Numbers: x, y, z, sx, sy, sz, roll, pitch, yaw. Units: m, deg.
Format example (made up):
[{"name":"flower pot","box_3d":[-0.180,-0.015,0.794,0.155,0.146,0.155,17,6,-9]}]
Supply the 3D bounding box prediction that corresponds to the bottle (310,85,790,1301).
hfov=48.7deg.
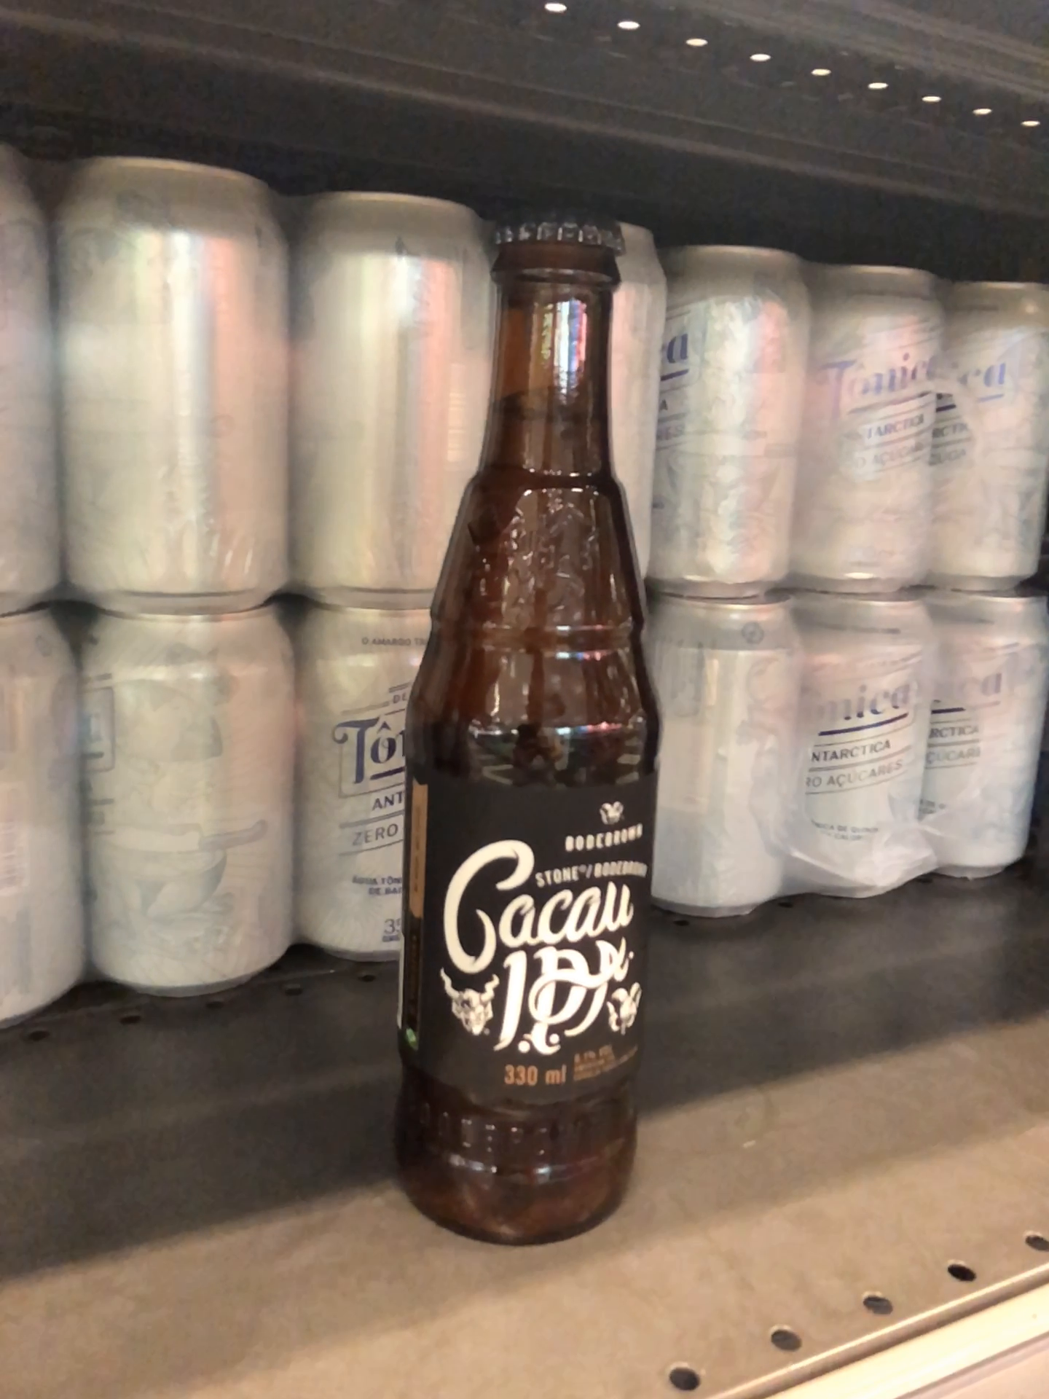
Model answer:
[{"name":"bottle","box_3d":[-0.004,0.004,0.274,0.080,0.249,0.070,-1,15,-17]}]
